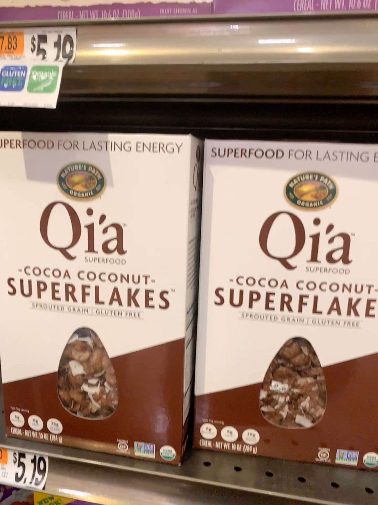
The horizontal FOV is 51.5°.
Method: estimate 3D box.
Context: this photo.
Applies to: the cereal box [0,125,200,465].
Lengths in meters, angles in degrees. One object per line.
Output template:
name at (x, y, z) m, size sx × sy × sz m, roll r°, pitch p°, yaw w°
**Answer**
cereal box at (-0.080, 0.033, 0.332) m, size 0.160 × 0.259 × 0.060 m, roll 4°, pitch 12°, yaw 10°
